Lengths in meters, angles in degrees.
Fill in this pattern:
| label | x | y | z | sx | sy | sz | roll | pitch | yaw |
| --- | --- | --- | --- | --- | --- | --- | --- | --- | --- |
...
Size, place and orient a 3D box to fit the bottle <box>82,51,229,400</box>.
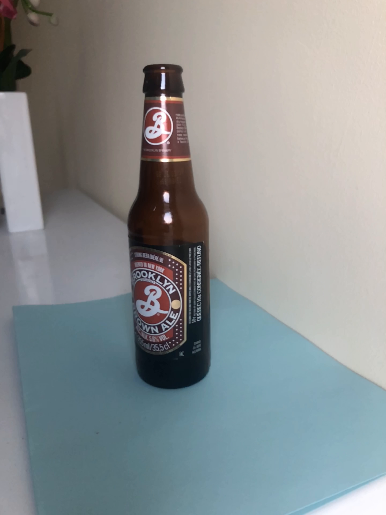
| label | x | y | z | sx | sy | sz | roll | pitch | yaw |
| --- | --- | --- | --- | --- | --- | --- | --- | --- | --- |
| bottle | -0.020 | -0.021 | 0.321 | 0.070 | 0.229 | 0.070 | -1 | 17 | 0 |
